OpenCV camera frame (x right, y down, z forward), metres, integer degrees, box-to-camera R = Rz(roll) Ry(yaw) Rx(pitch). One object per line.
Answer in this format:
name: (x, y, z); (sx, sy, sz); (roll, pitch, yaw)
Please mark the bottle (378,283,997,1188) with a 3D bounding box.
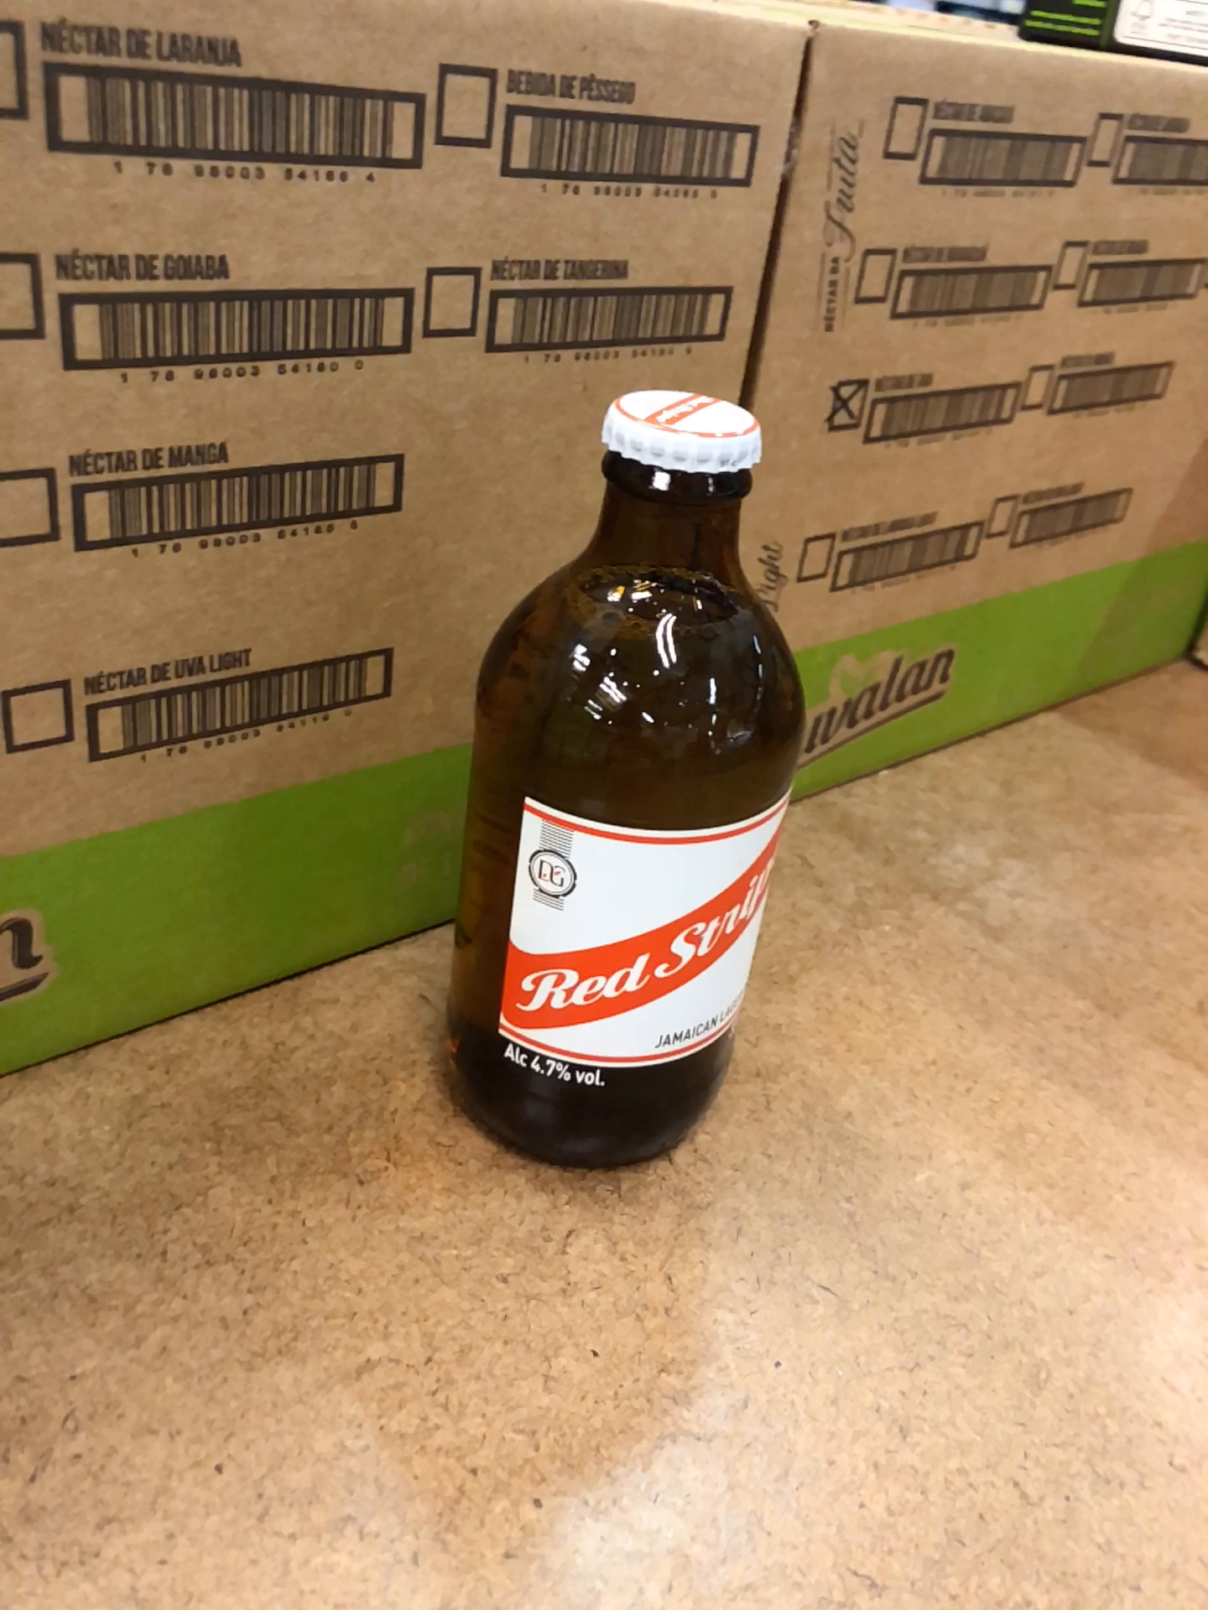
bottle: (0.005, -0.013, 0.273); (0.080, 0.159, 0.070); (-6, 33, -23)
